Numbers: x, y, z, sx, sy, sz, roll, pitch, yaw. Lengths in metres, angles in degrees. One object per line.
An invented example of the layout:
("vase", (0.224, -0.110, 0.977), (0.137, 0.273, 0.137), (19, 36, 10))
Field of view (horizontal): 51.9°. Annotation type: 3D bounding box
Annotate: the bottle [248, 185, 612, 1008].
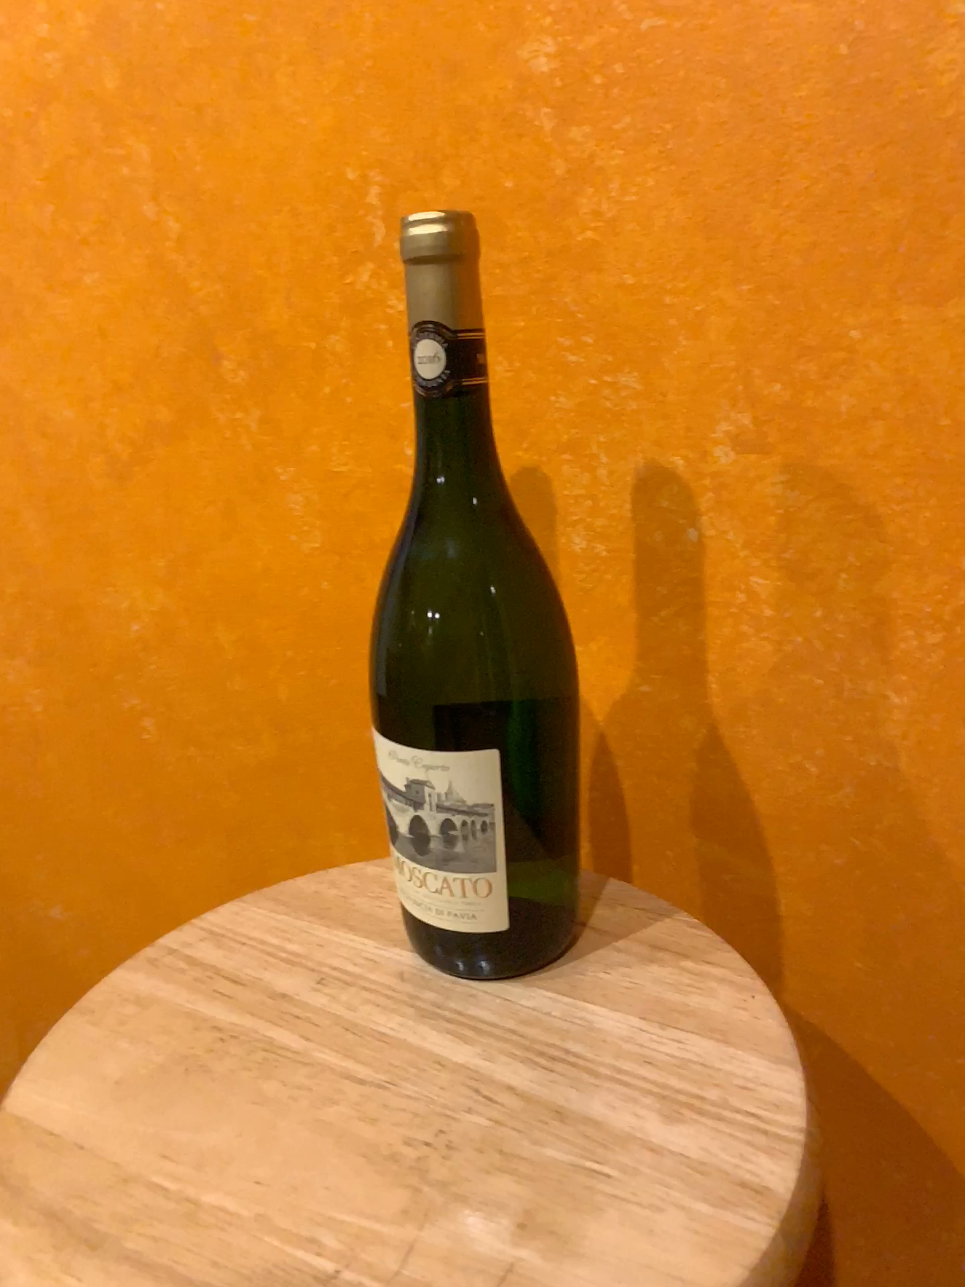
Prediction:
("bottle", (-0.013, -0.014, 0.388), (0.090, 0.289, 0.070), (8, 22, 36))
